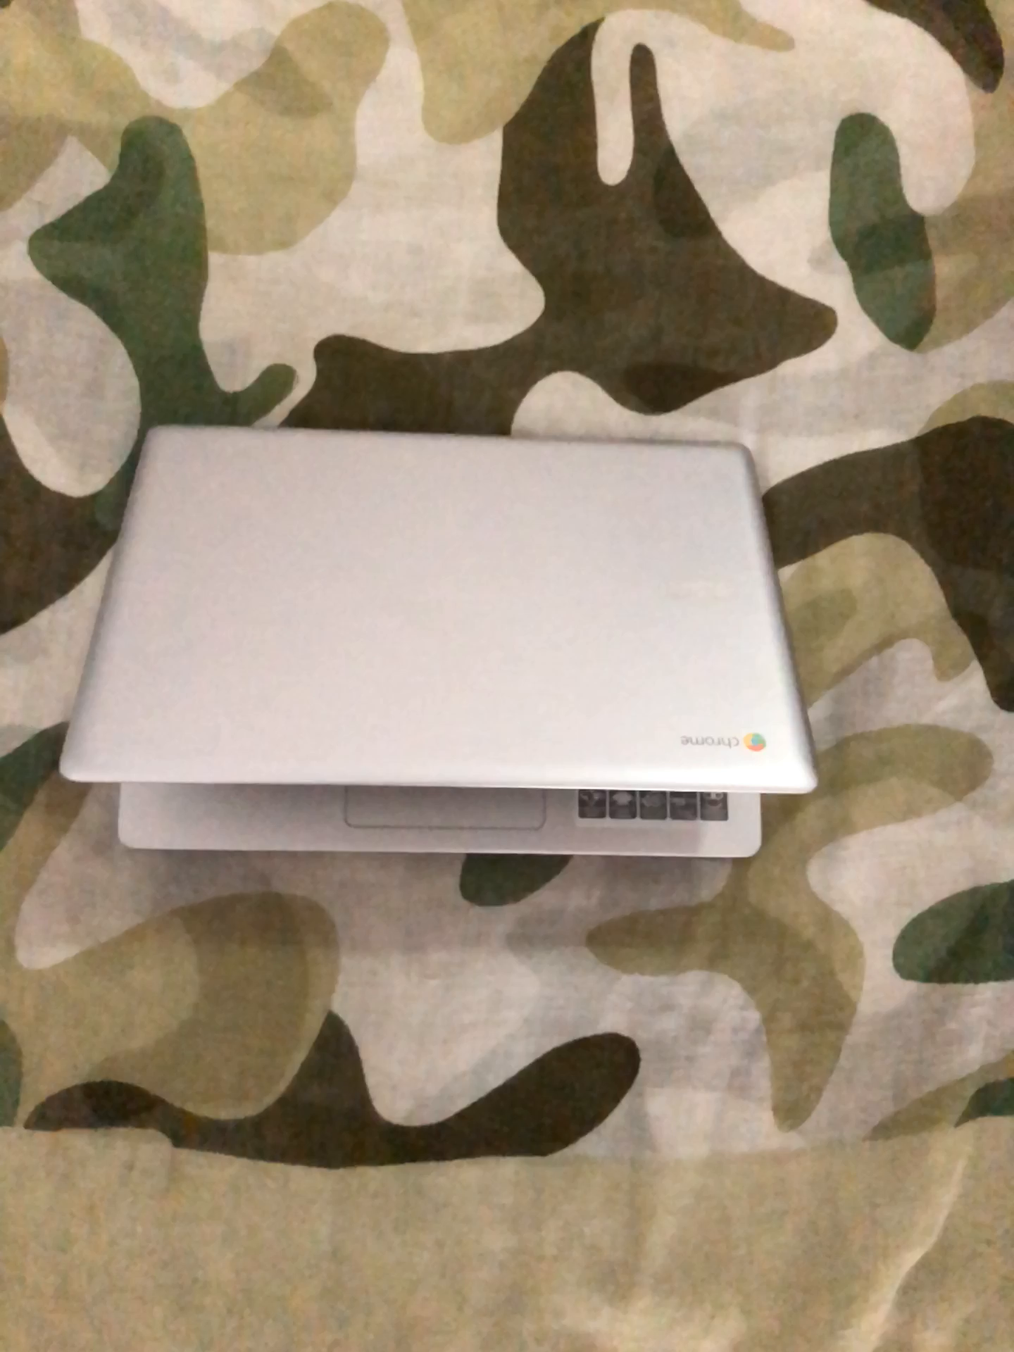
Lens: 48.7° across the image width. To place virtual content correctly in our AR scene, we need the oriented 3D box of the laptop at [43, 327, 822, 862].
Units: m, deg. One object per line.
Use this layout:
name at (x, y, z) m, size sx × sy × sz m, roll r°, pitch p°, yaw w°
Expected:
laptop at (-0.031, -0.031, 0.543) m, size 0.311 × 0.125 × 0.233 m, roll 2°, pitch 74°, yaw -3°
